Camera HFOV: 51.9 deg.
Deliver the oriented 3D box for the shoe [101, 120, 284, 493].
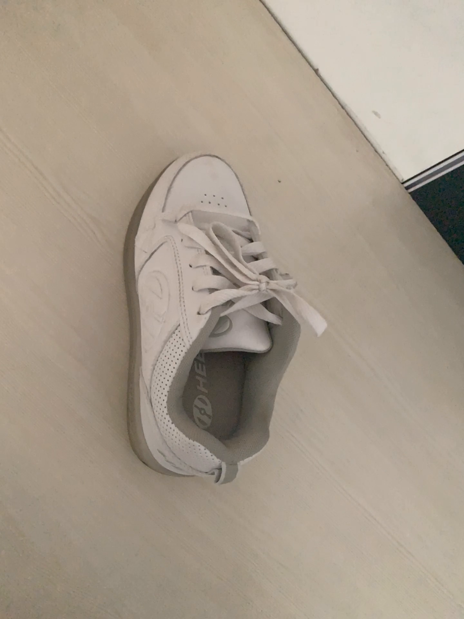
[{"bbox_3d":[-0.029,0.003,0.339,0.090,0.090,0.230,8,71,-25],"label":"shoe"}]
